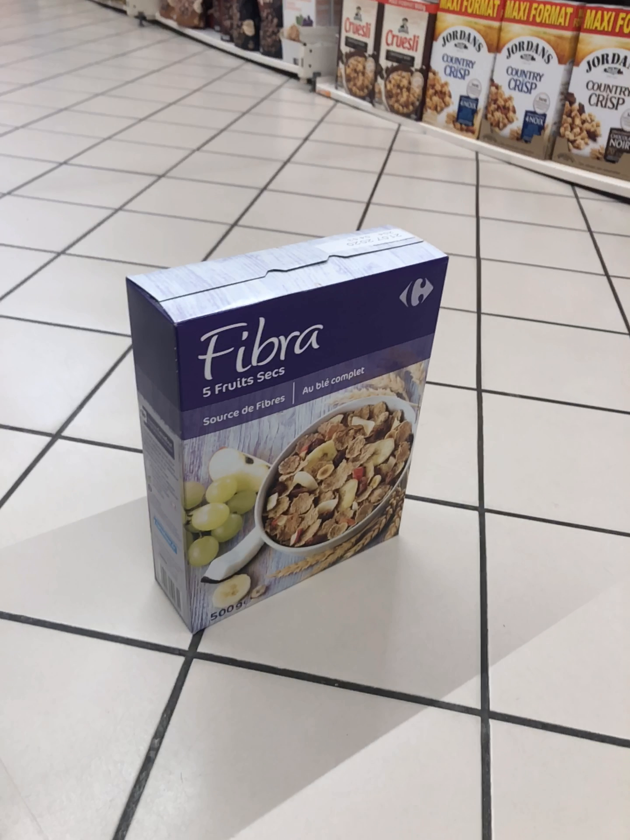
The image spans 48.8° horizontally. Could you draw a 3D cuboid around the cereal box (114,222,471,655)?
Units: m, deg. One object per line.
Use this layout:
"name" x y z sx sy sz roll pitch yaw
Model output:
"cereal box" -0.016 0.011 0.500 0.211 0.258 0.080 -19 41 -30
